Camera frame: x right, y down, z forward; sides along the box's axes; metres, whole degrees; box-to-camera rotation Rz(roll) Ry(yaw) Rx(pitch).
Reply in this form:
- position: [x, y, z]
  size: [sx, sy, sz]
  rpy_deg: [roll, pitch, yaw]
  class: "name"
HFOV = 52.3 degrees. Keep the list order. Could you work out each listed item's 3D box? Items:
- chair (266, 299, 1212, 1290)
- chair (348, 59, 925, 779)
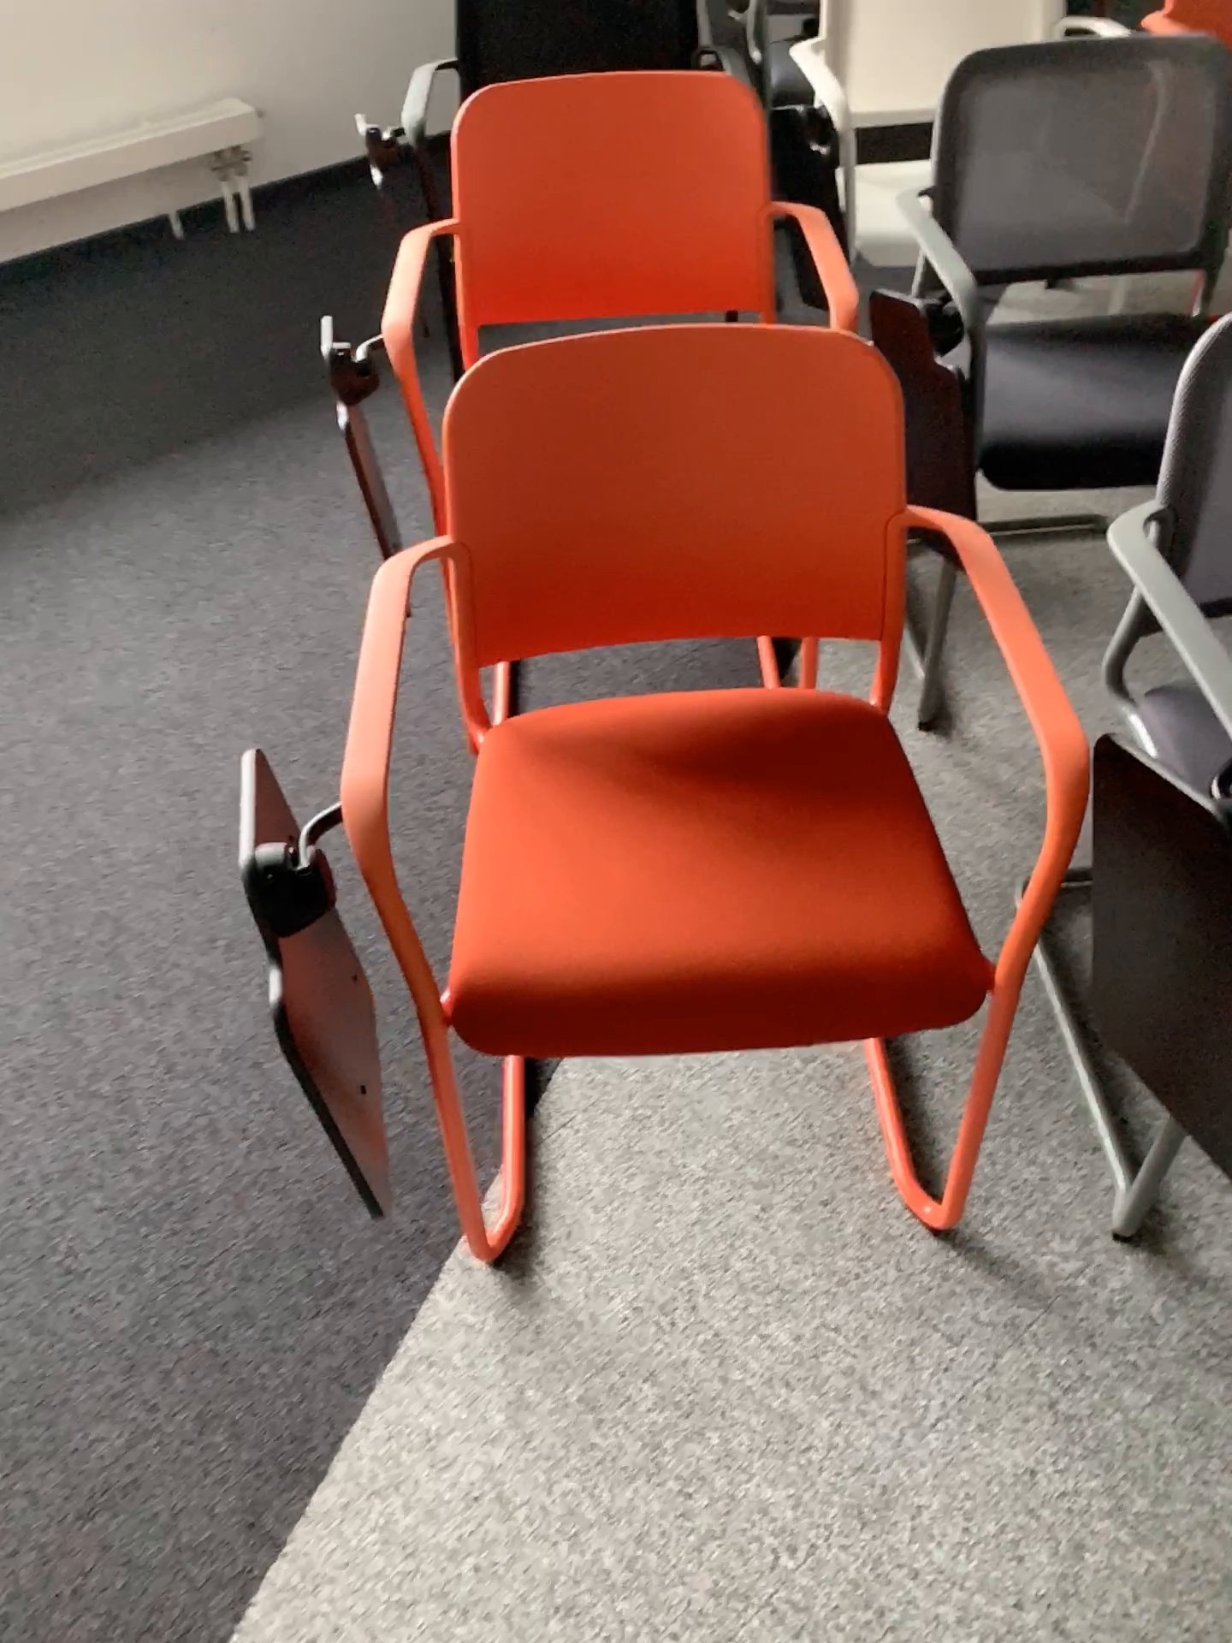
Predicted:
- position: [0.080, 0.004, 1.239]
  size: [0.580, 0.766, 0.563]
  rpy_deg: [-4, 46, 0]
  class: "chair"
- position: [0.026, -0.562, 1.804]
  size: [0.610, 0.756, 0.603]
  rpy_deg: [-4, 45, 0]
  class: "chair"
